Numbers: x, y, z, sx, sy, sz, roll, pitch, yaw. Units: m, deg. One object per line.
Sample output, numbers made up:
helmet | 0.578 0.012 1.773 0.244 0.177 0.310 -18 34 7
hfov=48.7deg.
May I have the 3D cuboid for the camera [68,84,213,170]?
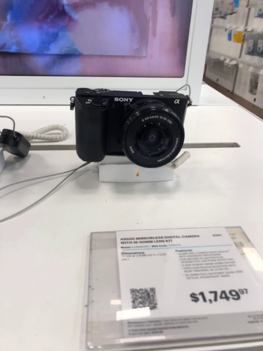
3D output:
camera | 0.005 -0.052 0.301 0.130 0.070 0.060 -1 29 -6
